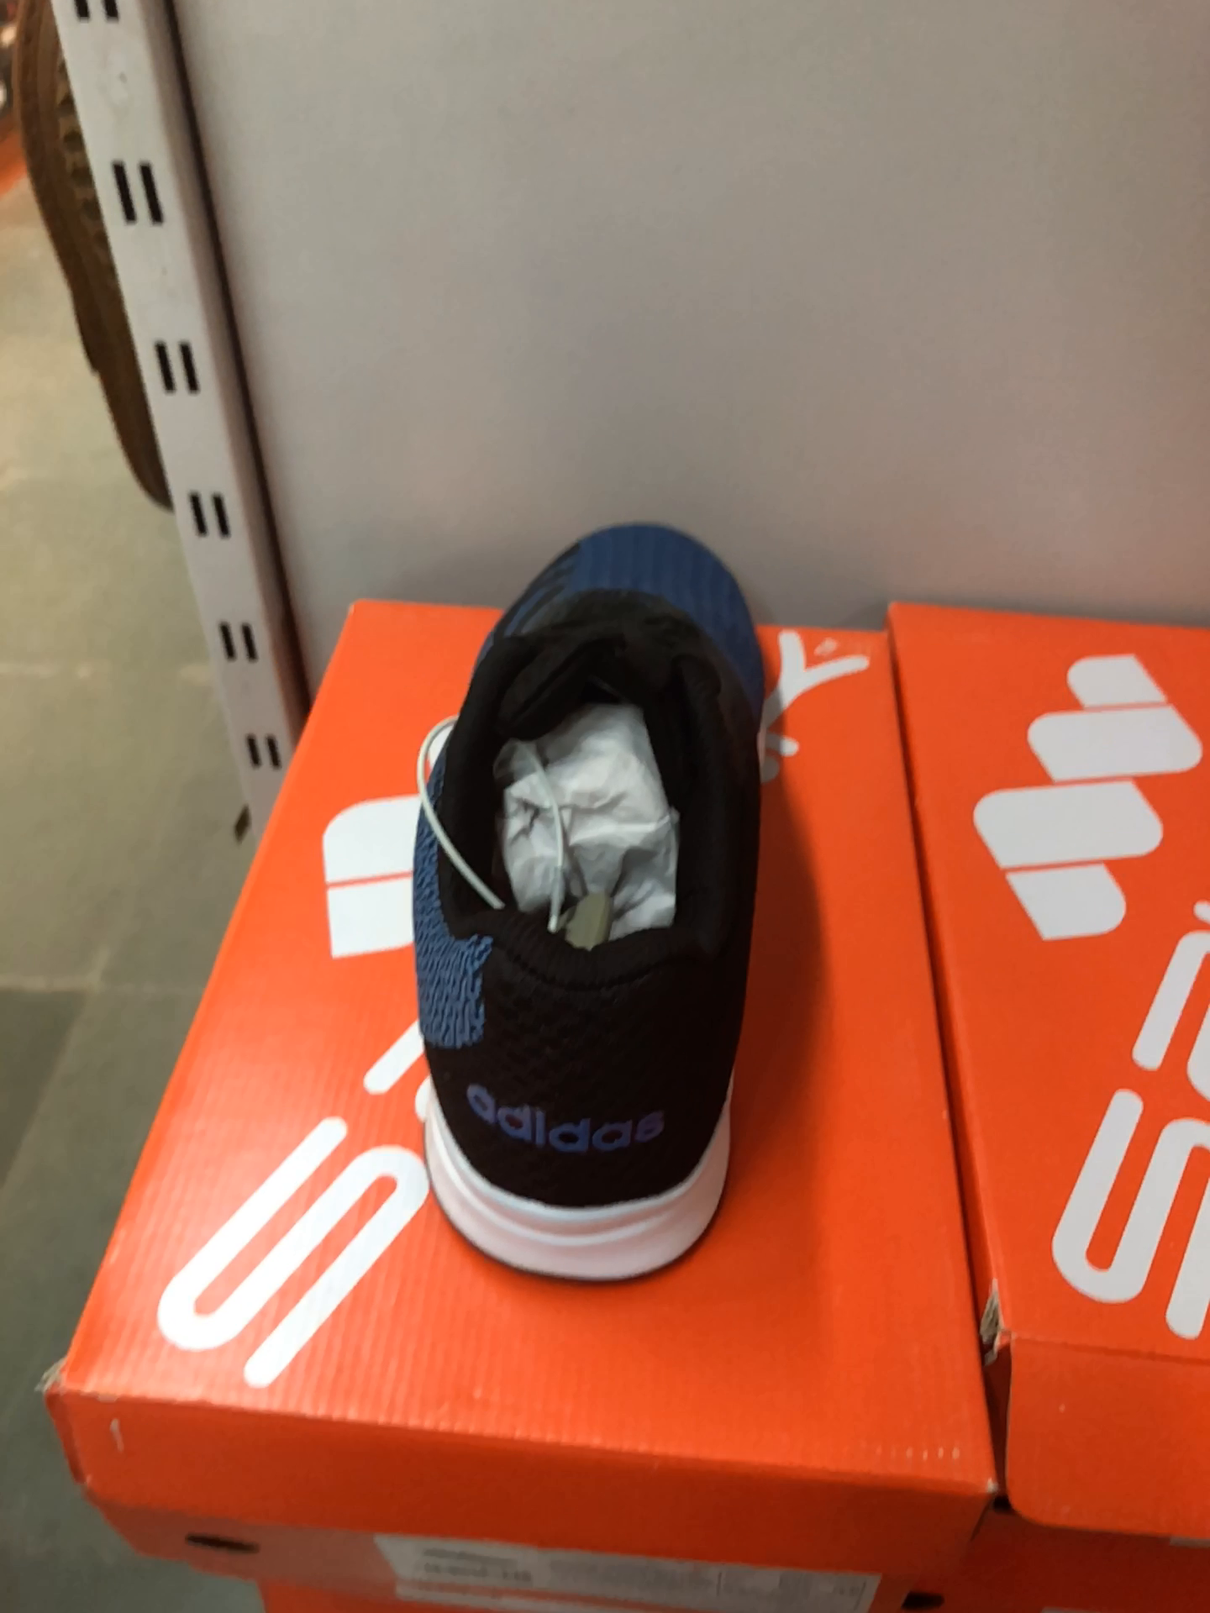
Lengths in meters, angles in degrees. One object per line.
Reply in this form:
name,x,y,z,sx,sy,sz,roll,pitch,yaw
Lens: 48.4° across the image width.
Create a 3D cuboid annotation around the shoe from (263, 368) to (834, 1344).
shoe,-0.002,-0.004,0.386,0.105,0.135,0.255,2,42,3
